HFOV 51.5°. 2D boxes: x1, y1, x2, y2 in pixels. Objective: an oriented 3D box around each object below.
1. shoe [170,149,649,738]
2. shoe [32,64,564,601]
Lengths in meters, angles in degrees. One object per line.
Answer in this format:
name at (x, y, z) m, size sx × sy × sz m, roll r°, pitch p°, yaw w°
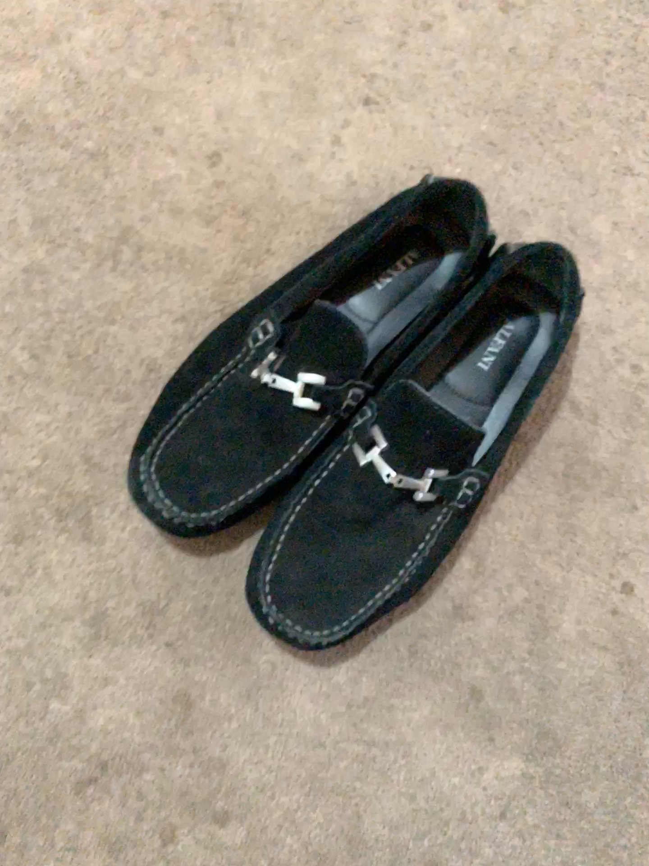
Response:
shoe at (0.065, 0.000, 0.384) m, size 0.100 × 0.100 × 0.311 m, roll 40°, pitch 78°, yaw 7°
shoe at (-0.005, -0.057, 0.401) m, size 0.100 × 0.100 × 0.311 m, roll 40°, pitch 78°, yaw 7°
